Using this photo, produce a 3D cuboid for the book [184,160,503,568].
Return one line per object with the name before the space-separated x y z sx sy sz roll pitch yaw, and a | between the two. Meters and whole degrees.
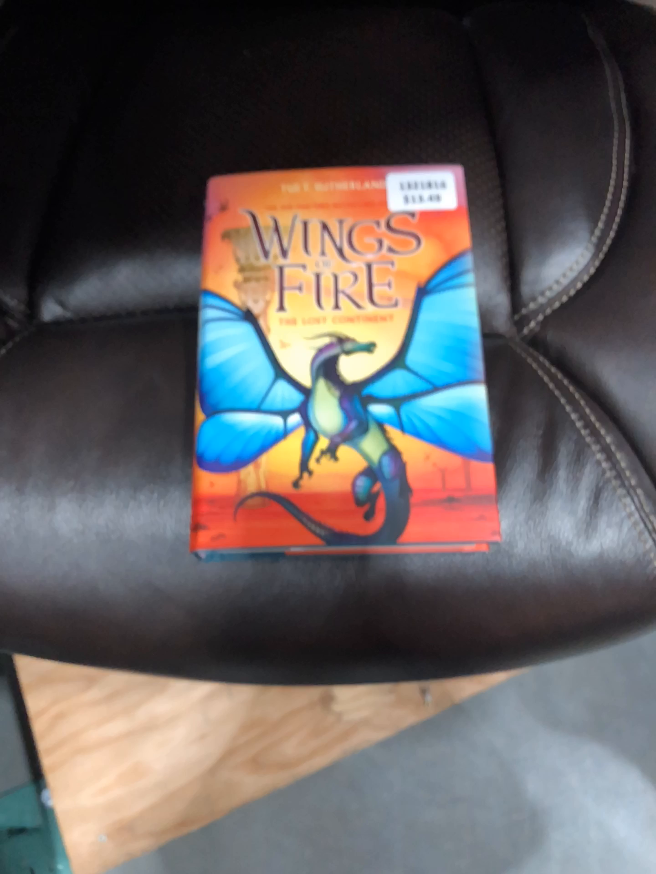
book | 0.005 -0.044 0.392 0.148 0.030 0.218 -2 71 2
